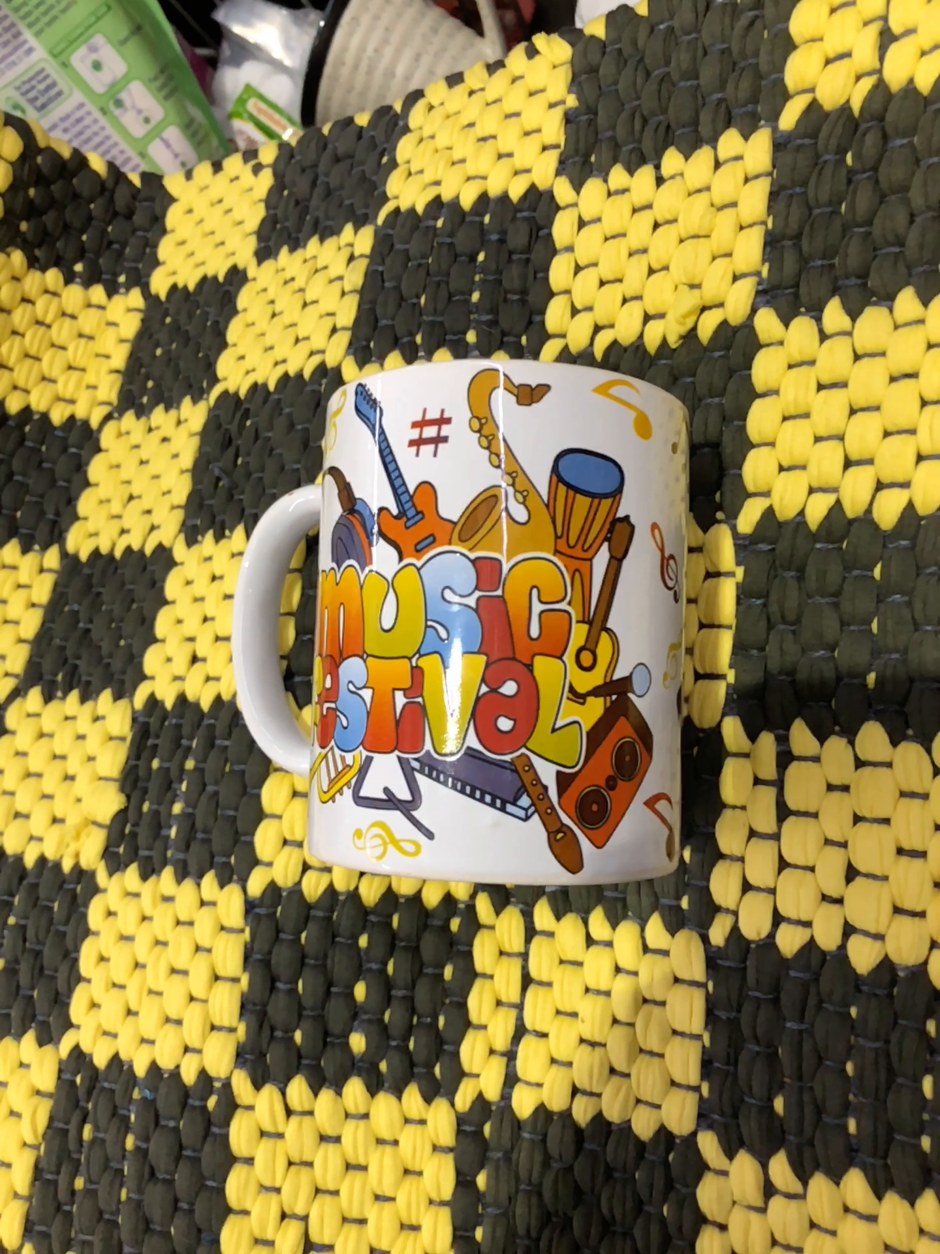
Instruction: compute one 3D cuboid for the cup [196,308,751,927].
[{"bbox_3d":[-0.003,0.003,0.229,0.100,0.070,0.100,-12,75,51],"label":"cup"}]
